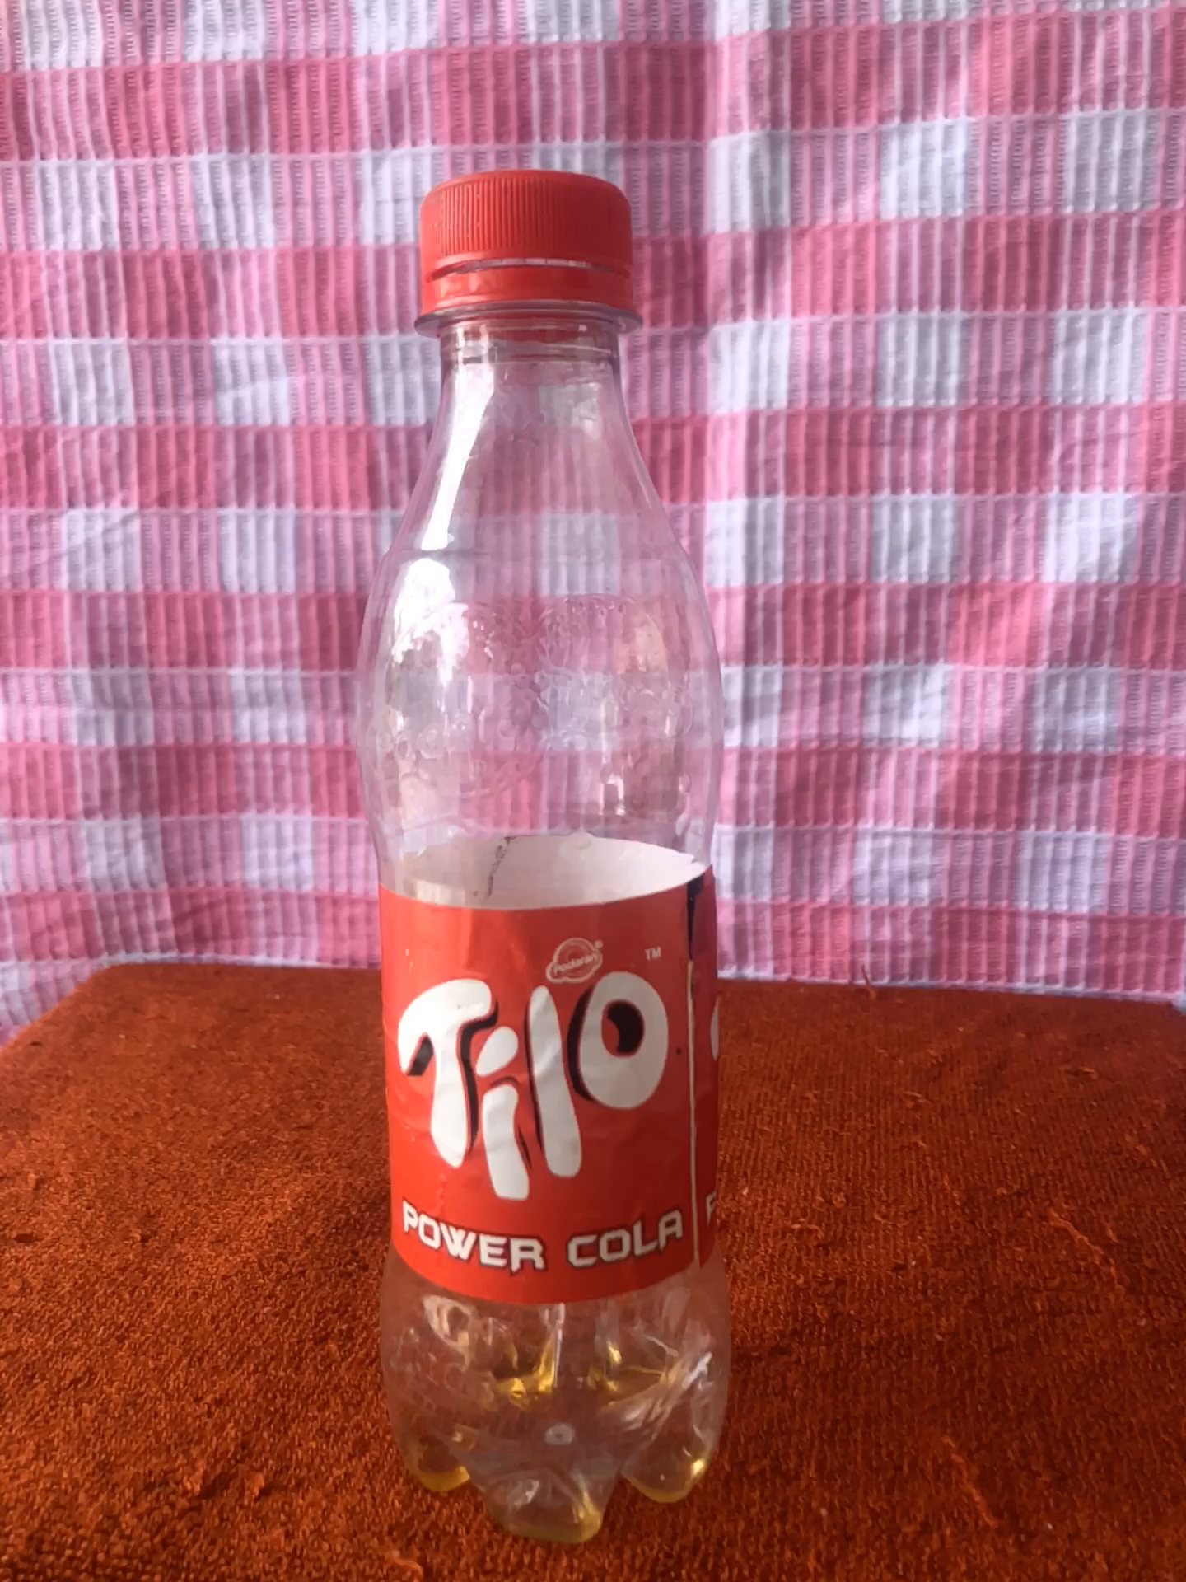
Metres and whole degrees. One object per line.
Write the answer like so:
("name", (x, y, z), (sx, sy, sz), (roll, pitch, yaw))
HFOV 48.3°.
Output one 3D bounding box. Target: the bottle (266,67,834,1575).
("bottle", (-0.004, 0.008, 0.191), (0.060, 0.189, 0.060), (1, 14, 0))
